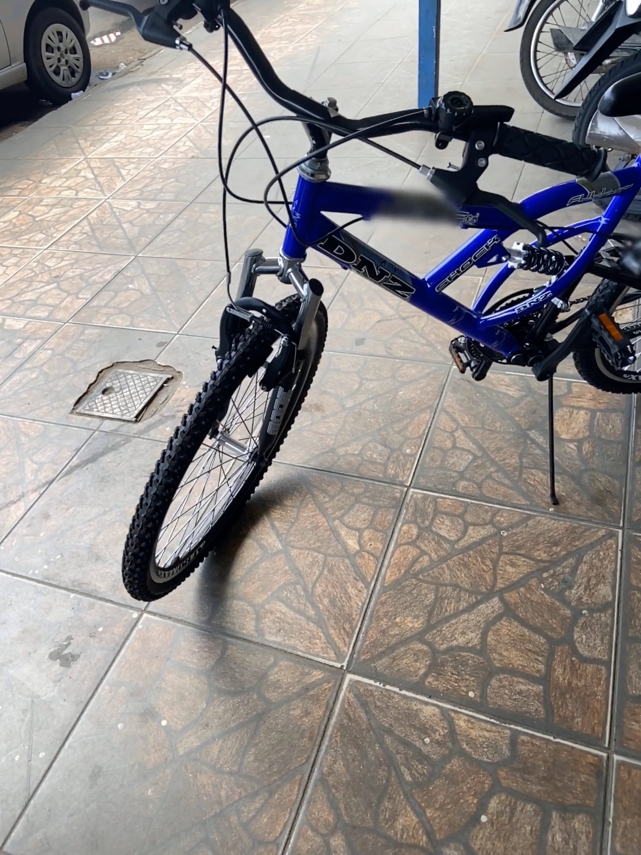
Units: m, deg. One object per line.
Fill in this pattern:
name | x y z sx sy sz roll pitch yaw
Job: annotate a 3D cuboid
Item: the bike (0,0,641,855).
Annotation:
bike | 0.439 -0.085 1.048 1.611 1.019 0.516 -23 45 -11
